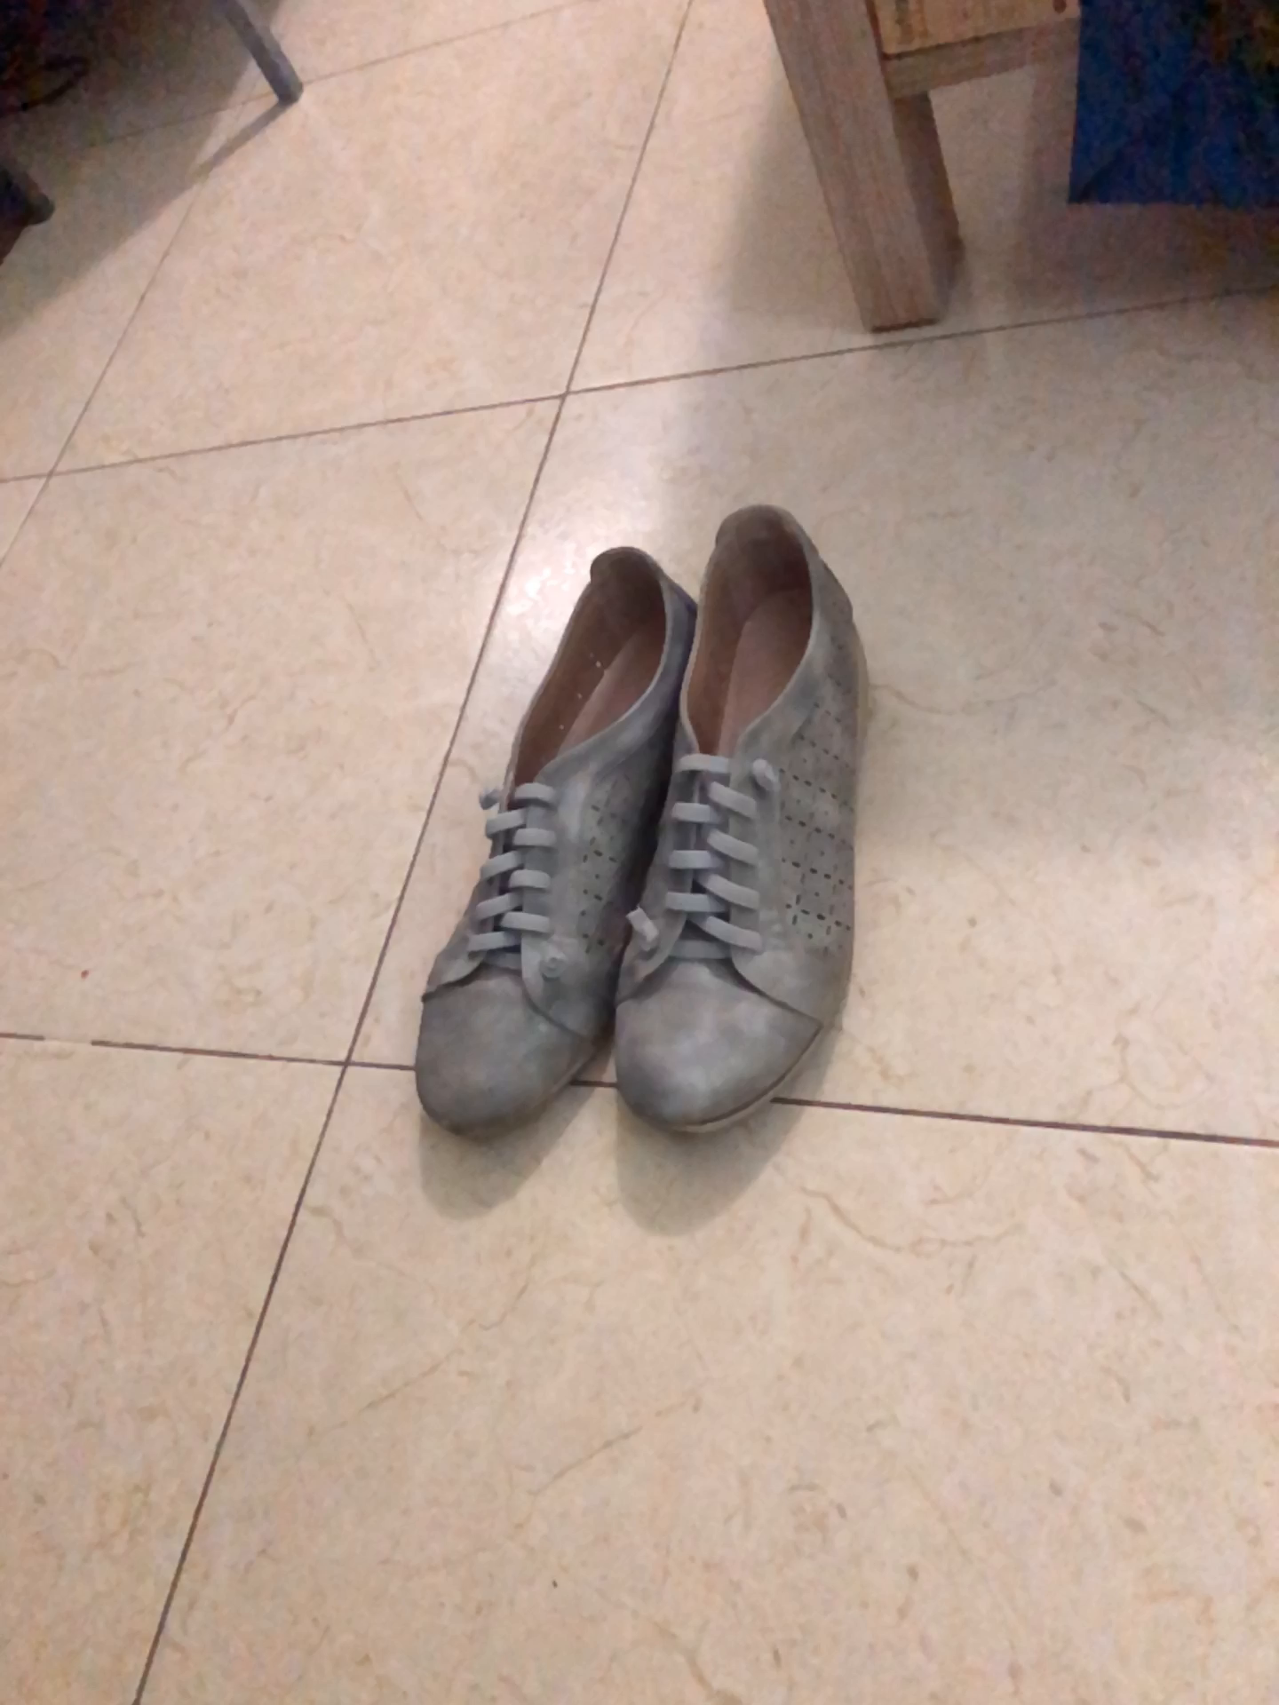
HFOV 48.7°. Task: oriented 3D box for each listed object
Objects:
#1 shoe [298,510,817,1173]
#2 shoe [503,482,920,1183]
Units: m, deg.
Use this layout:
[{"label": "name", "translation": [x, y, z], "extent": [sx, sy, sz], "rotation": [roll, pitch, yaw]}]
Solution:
[{"label": "shoe", "translation": [-0.027, -0.014, 0.668], "extent": [0.100, 0.100, 0.290], "rotation": [12, 66, 31]}, {"label": "shoe", "translation": [0.044, -0.016, 0.628], "extent": [0.100, 0.100, 0.290], "rotation": [1, 60, 26]}]
